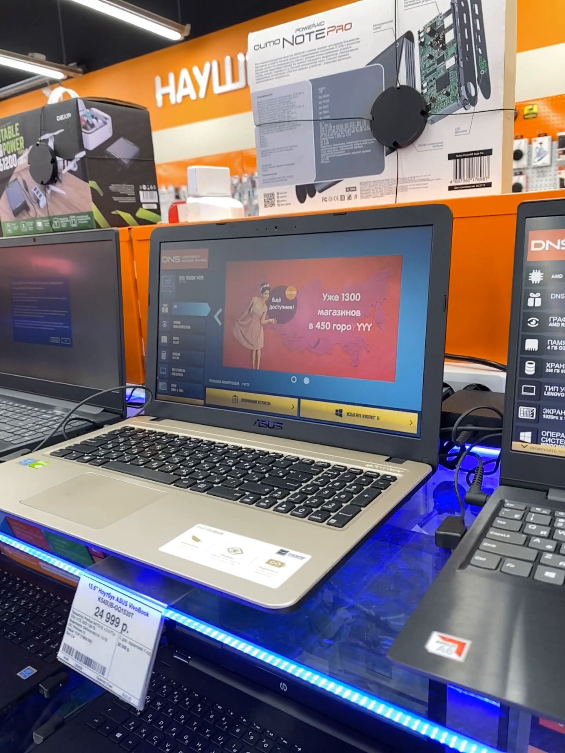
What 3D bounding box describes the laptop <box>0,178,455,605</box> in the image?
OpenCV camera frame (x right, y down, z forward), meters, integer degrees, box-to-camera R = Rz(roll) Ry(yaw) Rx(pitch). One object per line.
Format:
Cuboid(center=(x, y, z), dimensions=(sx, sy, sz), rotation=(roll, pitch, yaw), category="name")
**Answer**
Cuboid(center=(-0.078, -0.027, 0.528), dimensions=(0.377, 0.231, 0.293), rotation=(5, 13, 34), category="laptop")
